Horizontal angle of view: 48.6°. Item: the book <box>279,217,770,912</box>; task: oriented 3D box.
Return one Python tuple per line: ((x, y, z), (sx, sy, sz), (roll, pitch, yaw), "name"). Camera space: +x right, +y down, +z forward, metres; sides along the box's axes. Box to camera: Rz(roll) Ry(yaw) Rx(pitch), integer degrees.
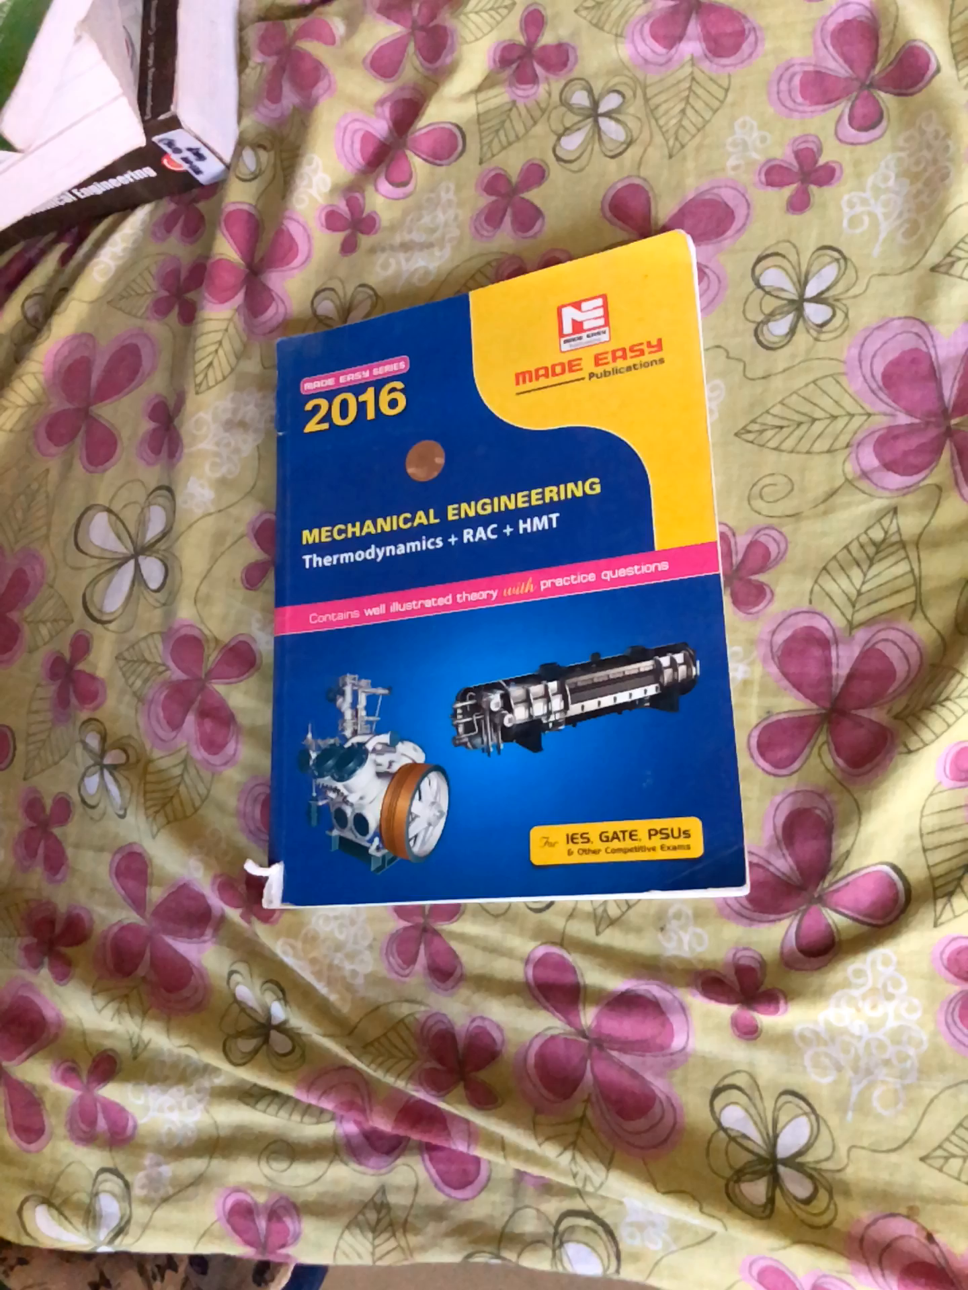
((0.005, -0.028, 0.460), (0.200, 0.030, 0.269), (-9, 75, 24), "book")
